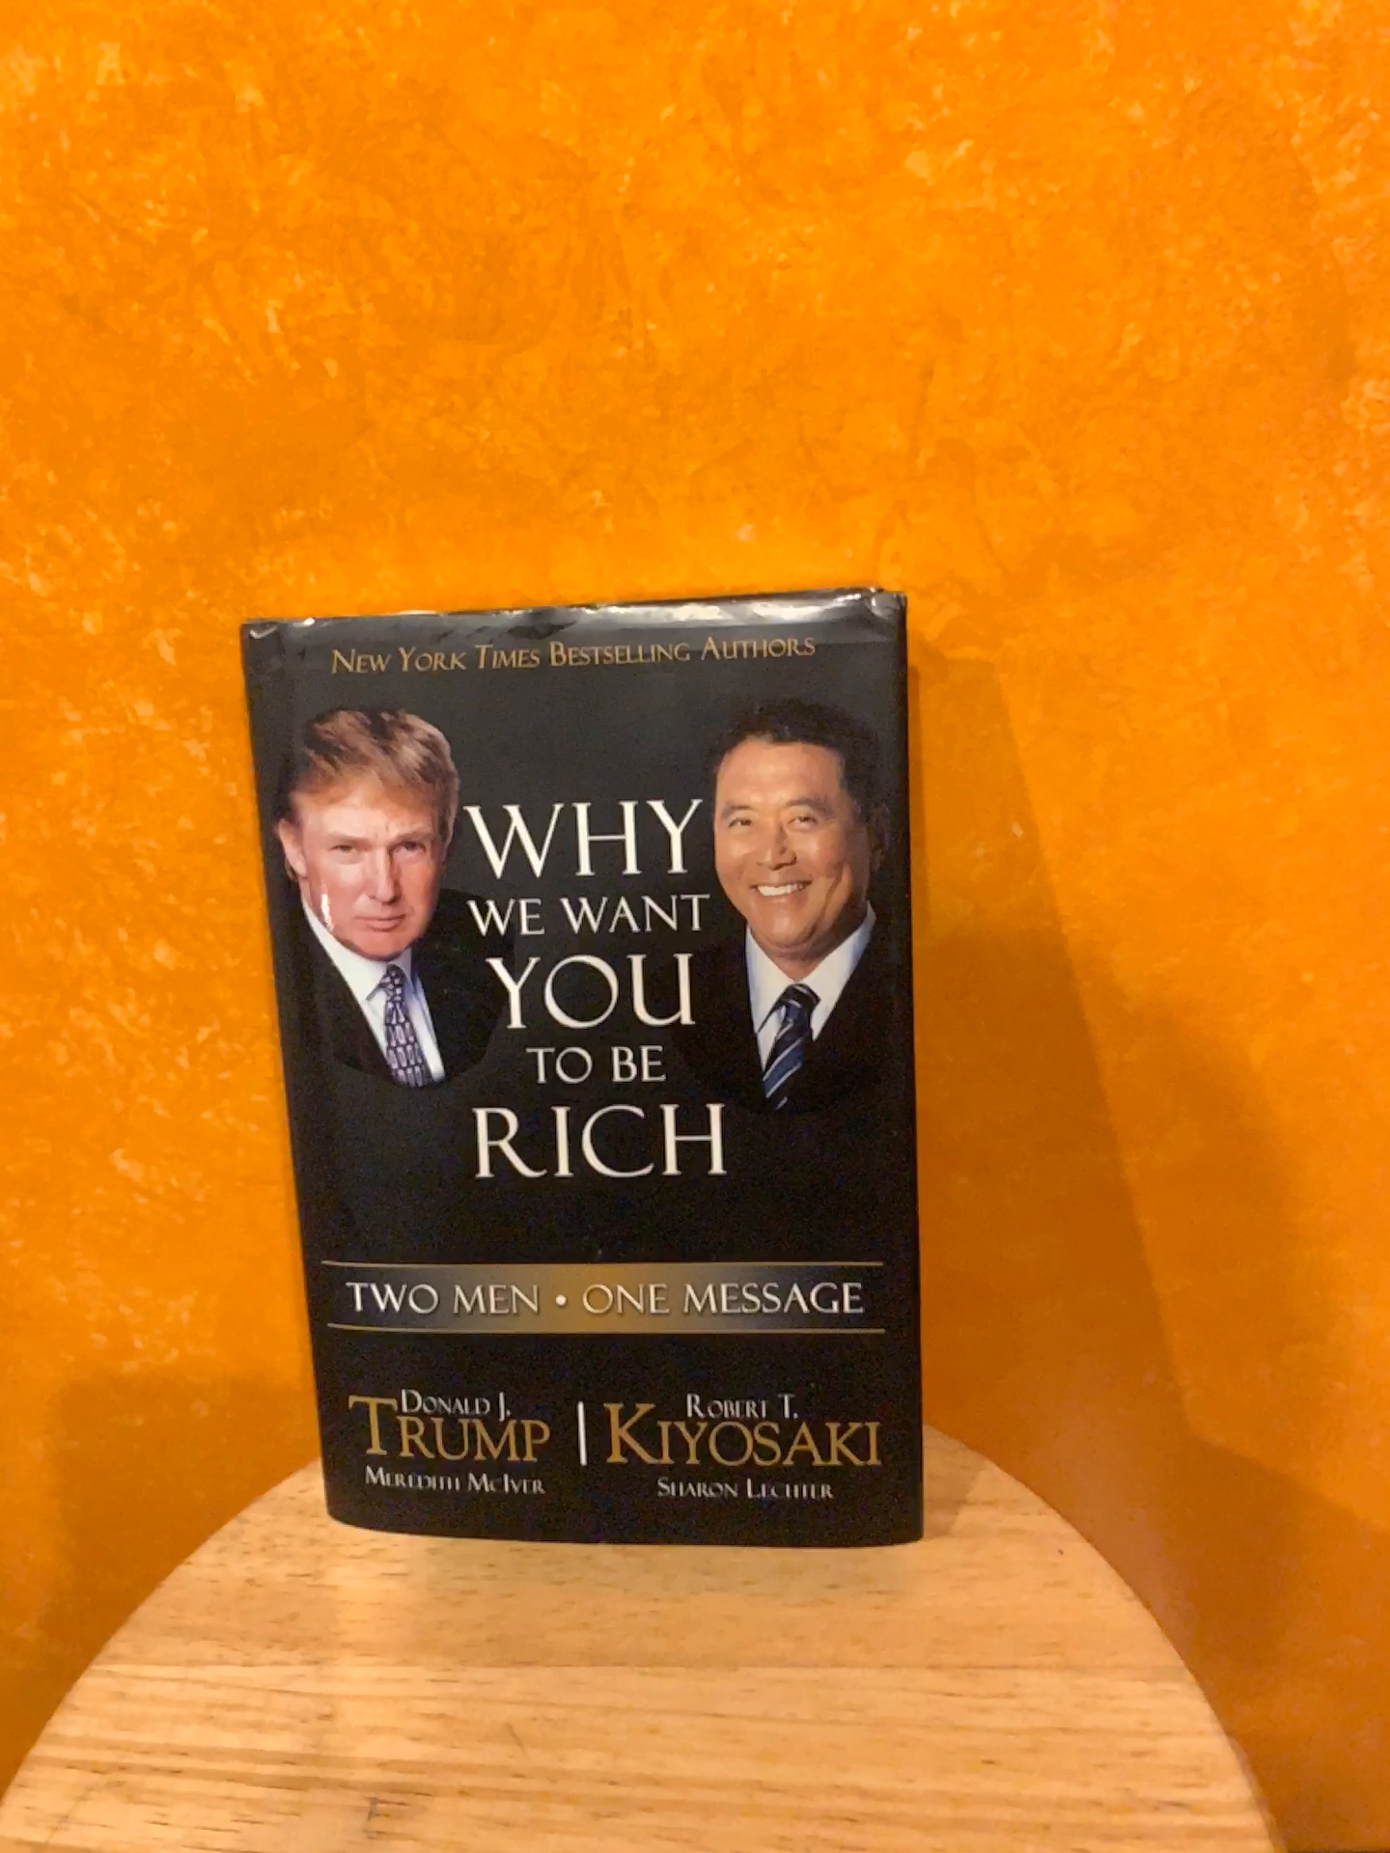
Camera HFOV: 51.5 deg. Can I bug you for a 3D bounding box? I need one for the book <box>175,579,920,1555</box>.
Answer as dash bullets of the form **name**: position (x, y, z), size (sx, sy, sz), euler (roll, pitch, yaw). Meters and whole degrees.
- **book**: position (-0.027, 0.033, 0.331), size (0.151, 0.210, 0.044), euler (-1, 11, 8)
